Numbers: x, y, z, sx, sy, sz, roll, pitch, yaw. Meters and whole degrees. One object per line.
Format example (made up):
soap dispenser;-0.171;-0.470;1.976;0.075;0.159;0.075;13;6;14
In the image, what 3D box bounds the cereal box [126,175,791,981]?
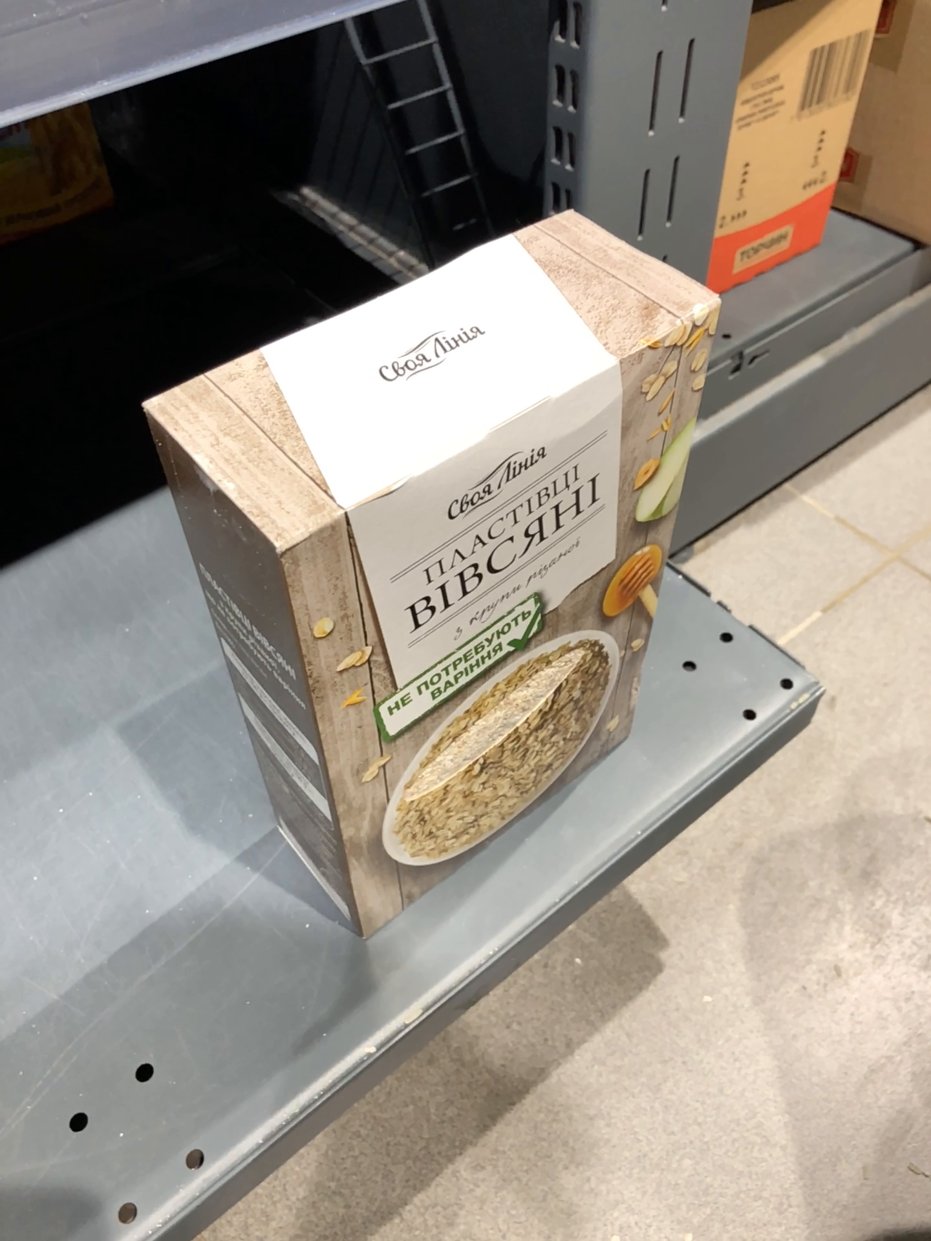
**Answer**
cereal box;0.002;0.002;0.338;0.151;0.228;0.070;-32;58;-24
